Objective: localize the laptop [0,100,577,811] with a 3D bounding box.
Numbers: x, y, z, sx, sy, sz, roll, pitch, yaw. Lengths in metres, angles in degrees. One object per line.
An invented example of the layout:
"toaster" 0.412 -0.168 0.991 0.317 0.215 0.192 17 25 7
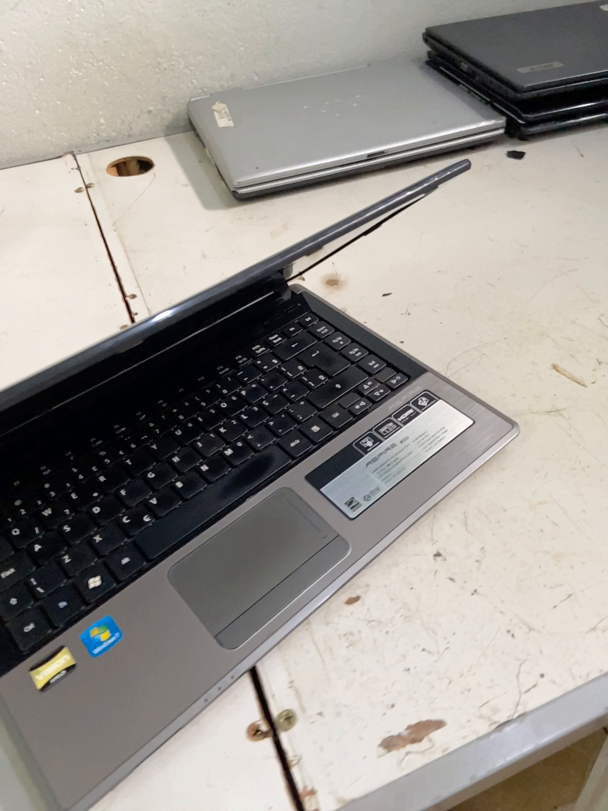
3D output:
"laptop" -0.056 -0.016 0.356 0.335 0.157 0.226 -34 53 -28
